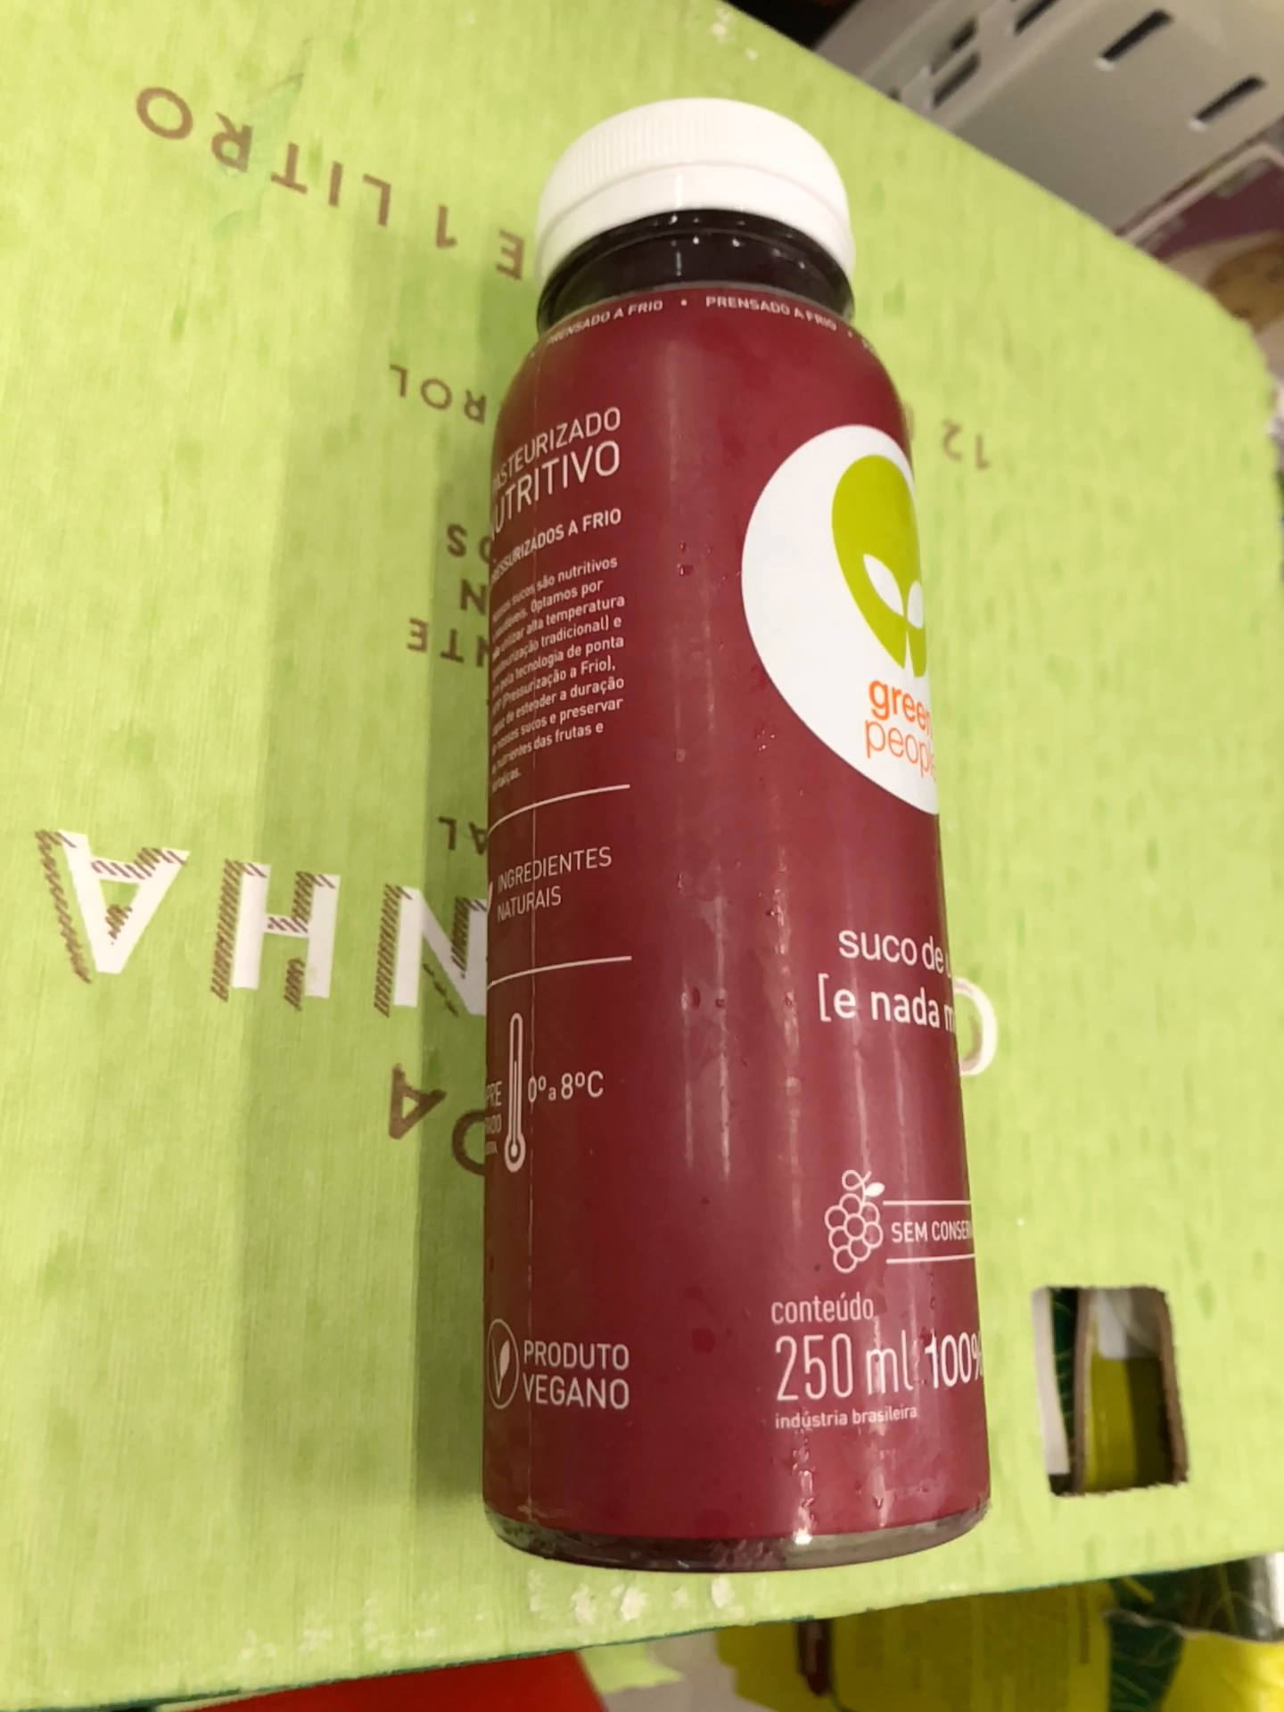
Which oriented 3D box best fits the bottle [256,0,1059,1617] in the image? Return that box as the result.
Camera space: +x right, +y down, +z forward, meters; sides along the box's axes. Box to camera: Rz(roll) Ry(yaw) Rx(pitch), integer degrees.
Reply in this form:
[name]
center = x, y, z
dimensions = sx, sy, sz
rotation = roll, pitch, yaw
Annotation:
[bottle]
center = 0.004, -0.015, 0.171
dimensions = 0.060, 0.060, 0.170
rotation = 19, 66, -54
